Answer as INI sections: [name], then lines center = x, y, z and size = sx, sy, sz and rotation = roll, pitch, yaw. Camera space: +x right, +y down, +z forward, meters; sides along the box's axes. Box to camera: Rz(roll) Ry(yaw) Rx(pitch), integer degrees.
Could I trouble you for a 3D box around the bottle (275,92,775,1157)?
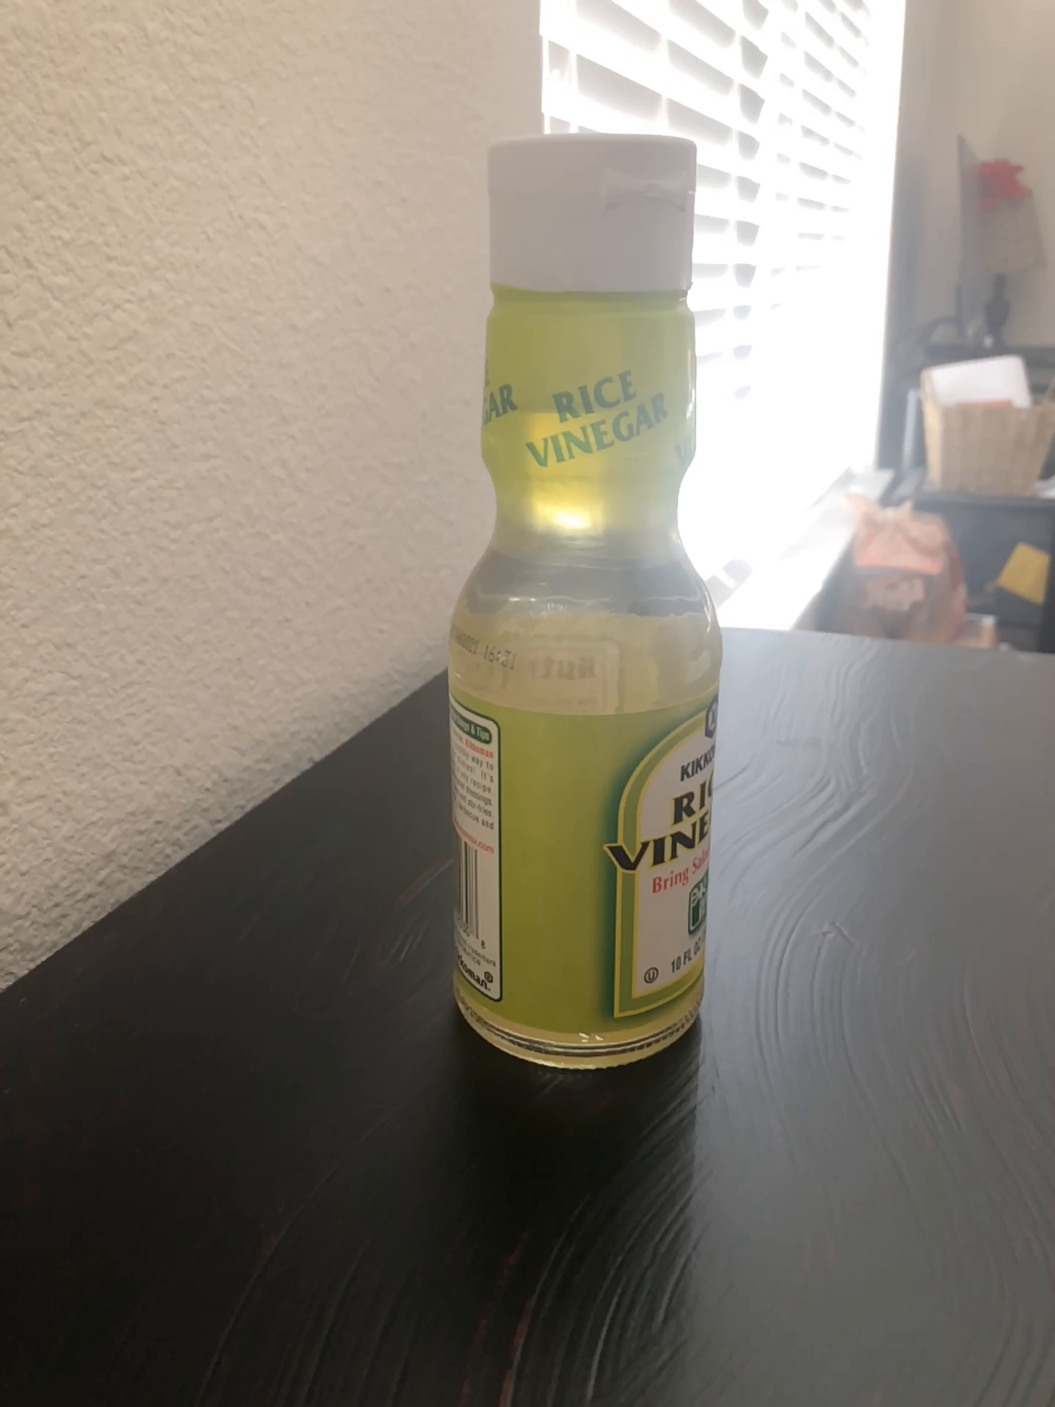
[bottle]
center = 0.005, -0.015, 0.257
size = 0.070, 0.199, 0.070
rotation = -2, 19, 1
